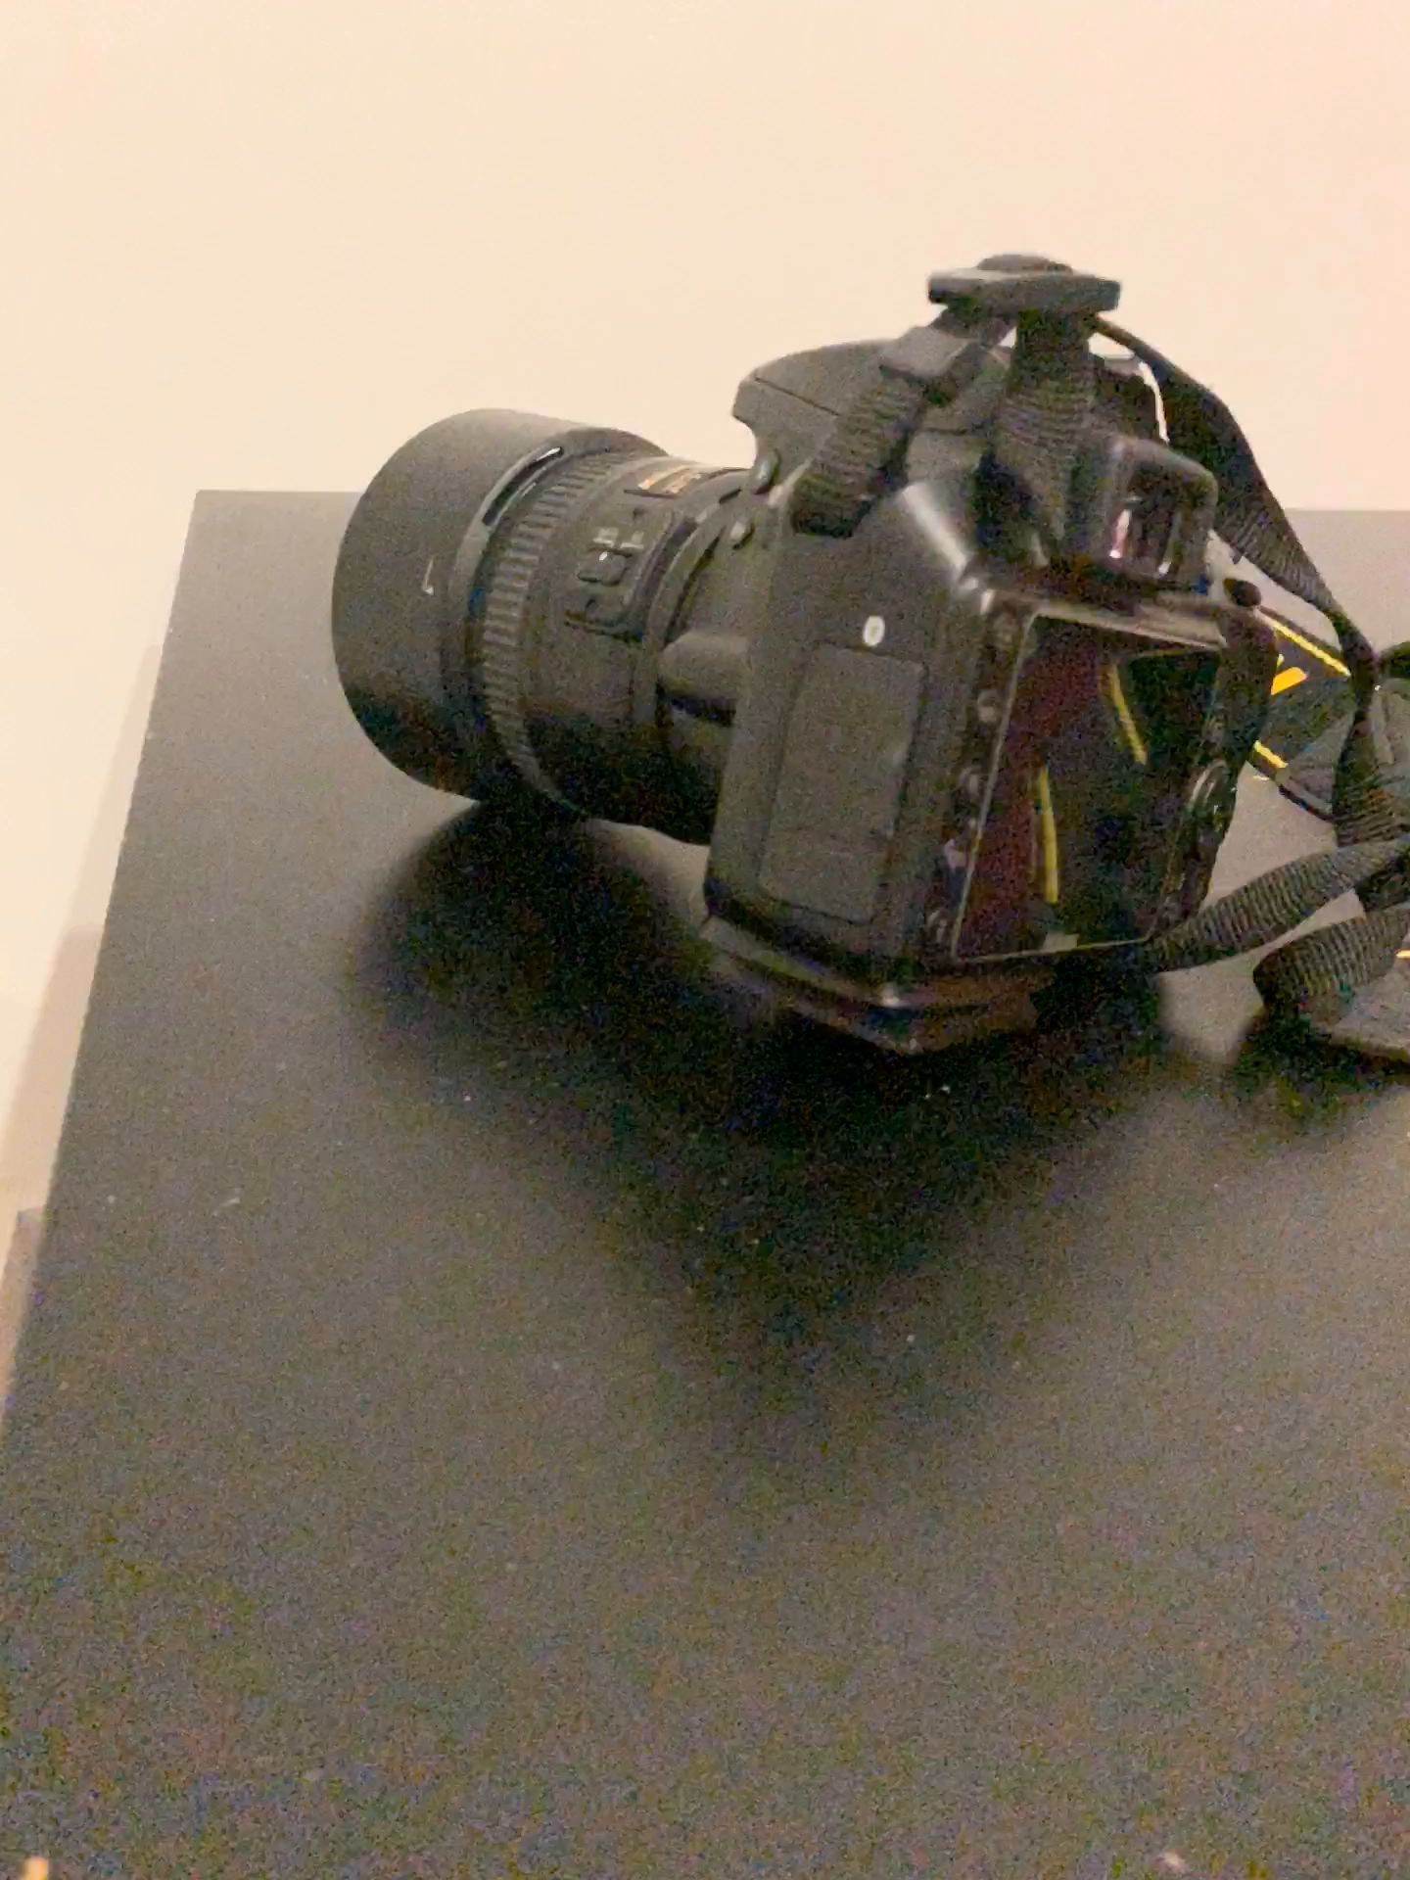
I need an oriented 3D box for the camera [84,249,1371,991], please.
[{"bbox_3d":[-0.009,-0.071,0.291,0.220,0.089,0.116,22,16,37],"label":"camera"}]
